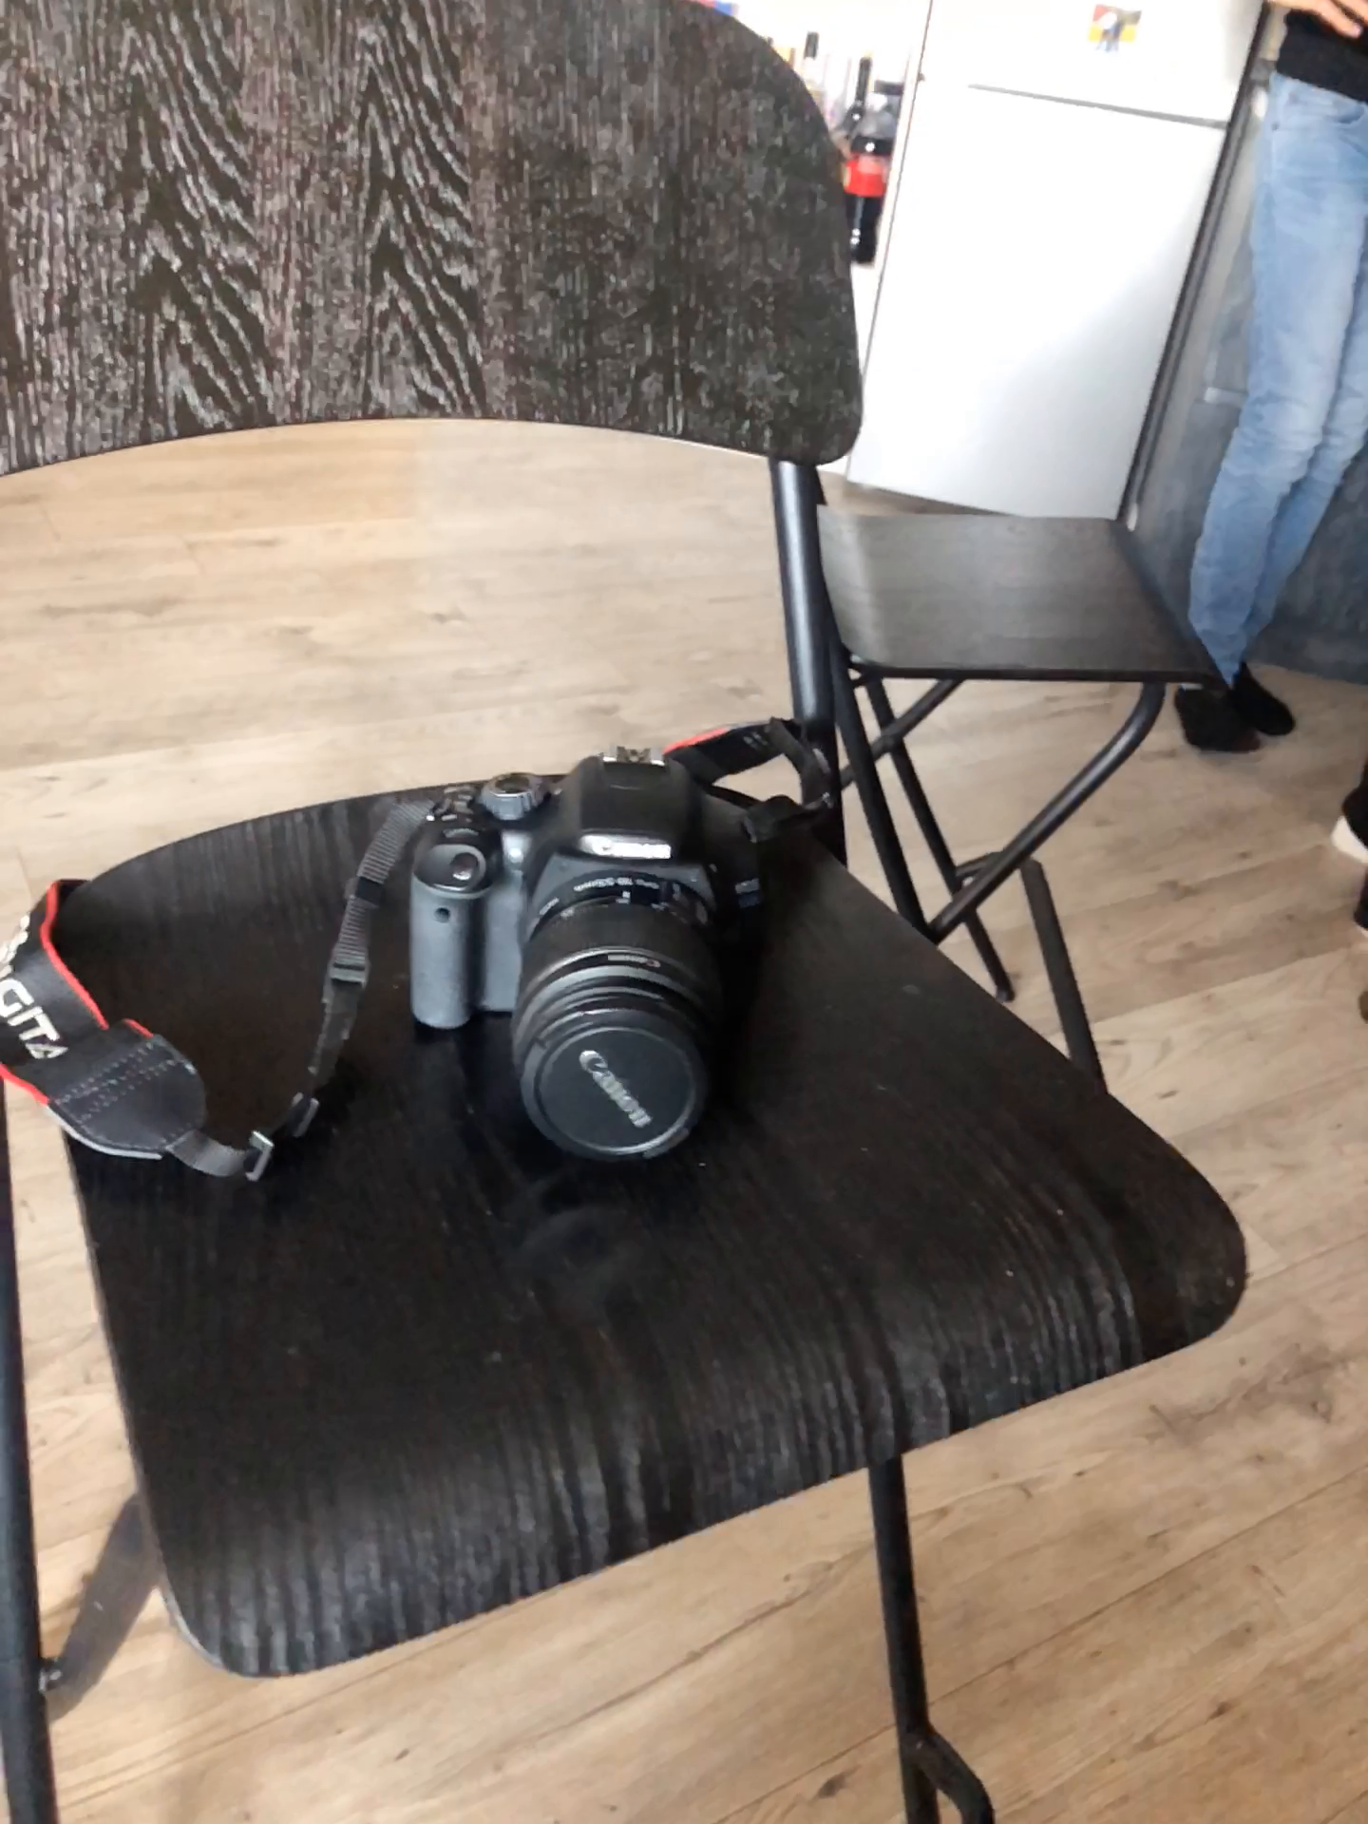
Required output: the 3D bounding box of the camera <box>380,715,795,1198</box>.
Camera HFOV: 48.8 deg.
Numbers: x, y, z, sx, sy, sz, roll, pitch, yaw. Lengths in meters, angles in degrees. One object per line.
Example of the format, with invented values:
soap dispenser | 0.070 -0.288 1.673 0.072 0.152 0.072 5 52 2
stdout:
camera | -0.034 0.011 0.519 0.120 0.092 0.141 4 34 -5
